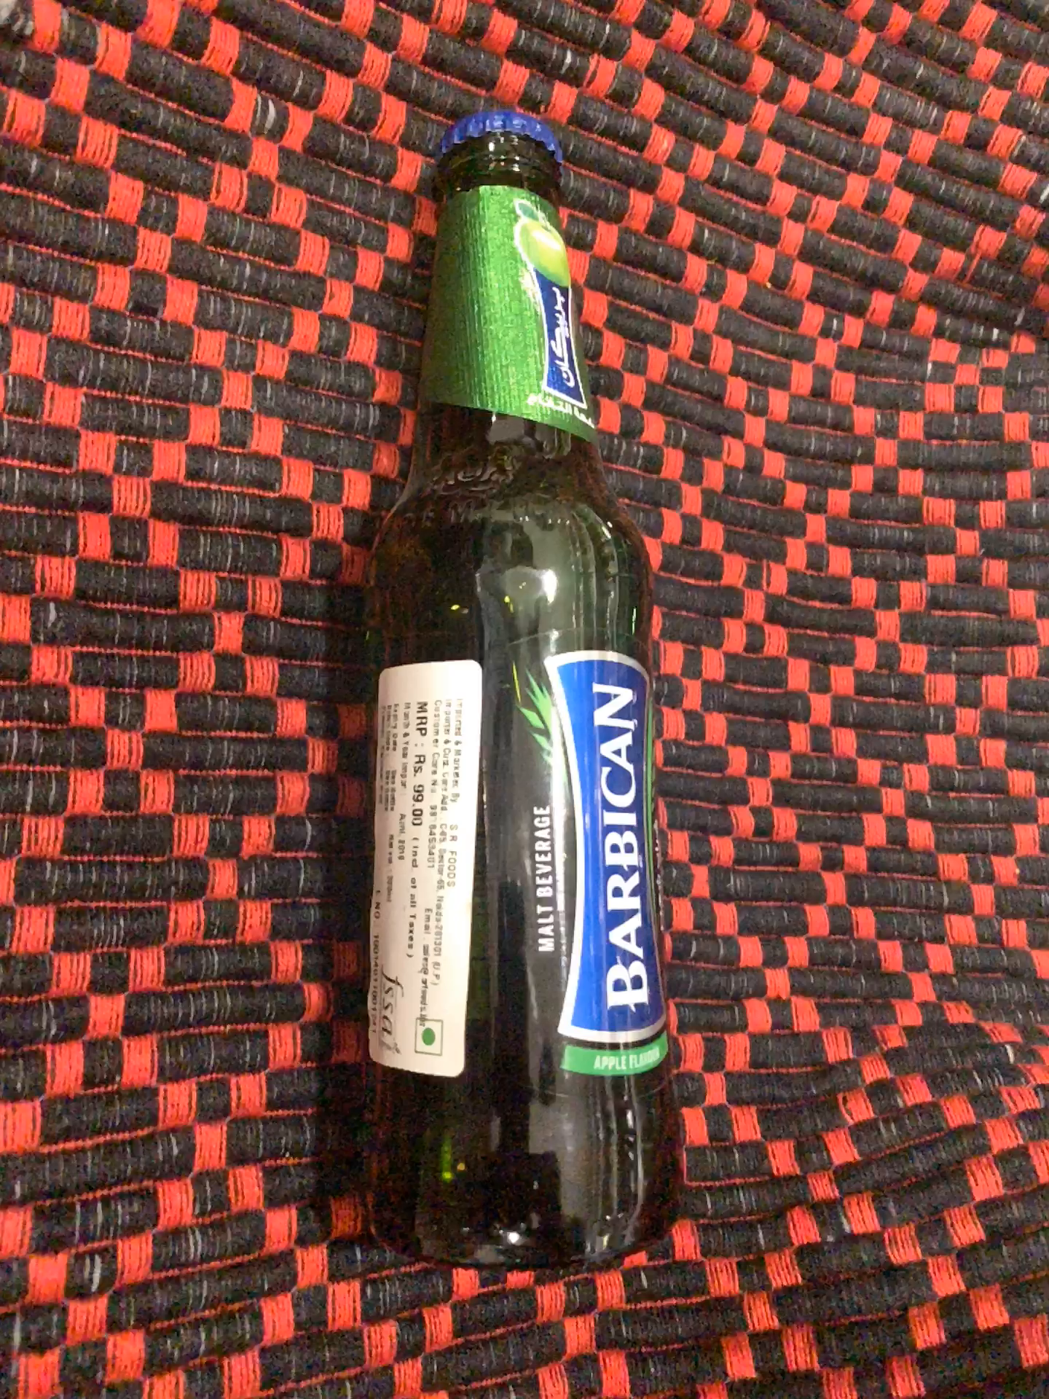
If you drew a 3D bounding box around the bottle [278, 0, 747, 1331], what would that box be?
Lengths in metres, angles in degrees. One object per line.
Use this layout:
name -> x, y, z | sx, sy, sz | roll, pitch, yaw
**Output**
bottle -> -0.008, -0.017, 0.222 | 0.070, 0.050, 0.238 | 5, 77, -32
